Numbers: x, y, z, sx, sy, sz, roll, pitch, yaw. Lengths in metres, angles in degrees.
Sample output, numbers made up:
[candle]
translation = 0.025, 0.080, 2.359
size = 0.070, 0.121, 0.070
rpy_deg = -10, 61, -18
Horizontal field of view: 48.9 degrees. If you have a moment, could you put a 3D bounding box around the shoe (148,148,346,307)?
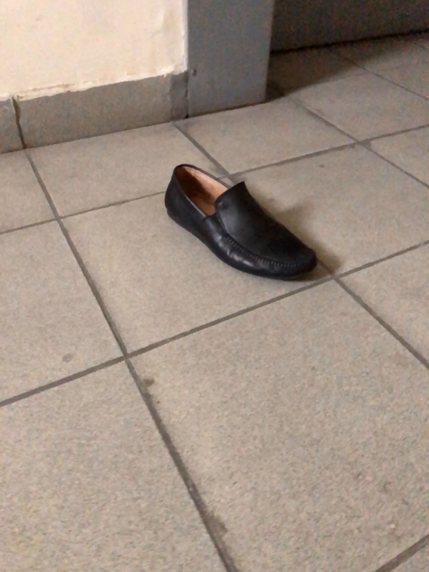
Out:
[shoe]
translation = 0.035, -0.095, 0.671
size = 0.108, 0.079, 0.271
rpy_deg = -33, 53, -32
